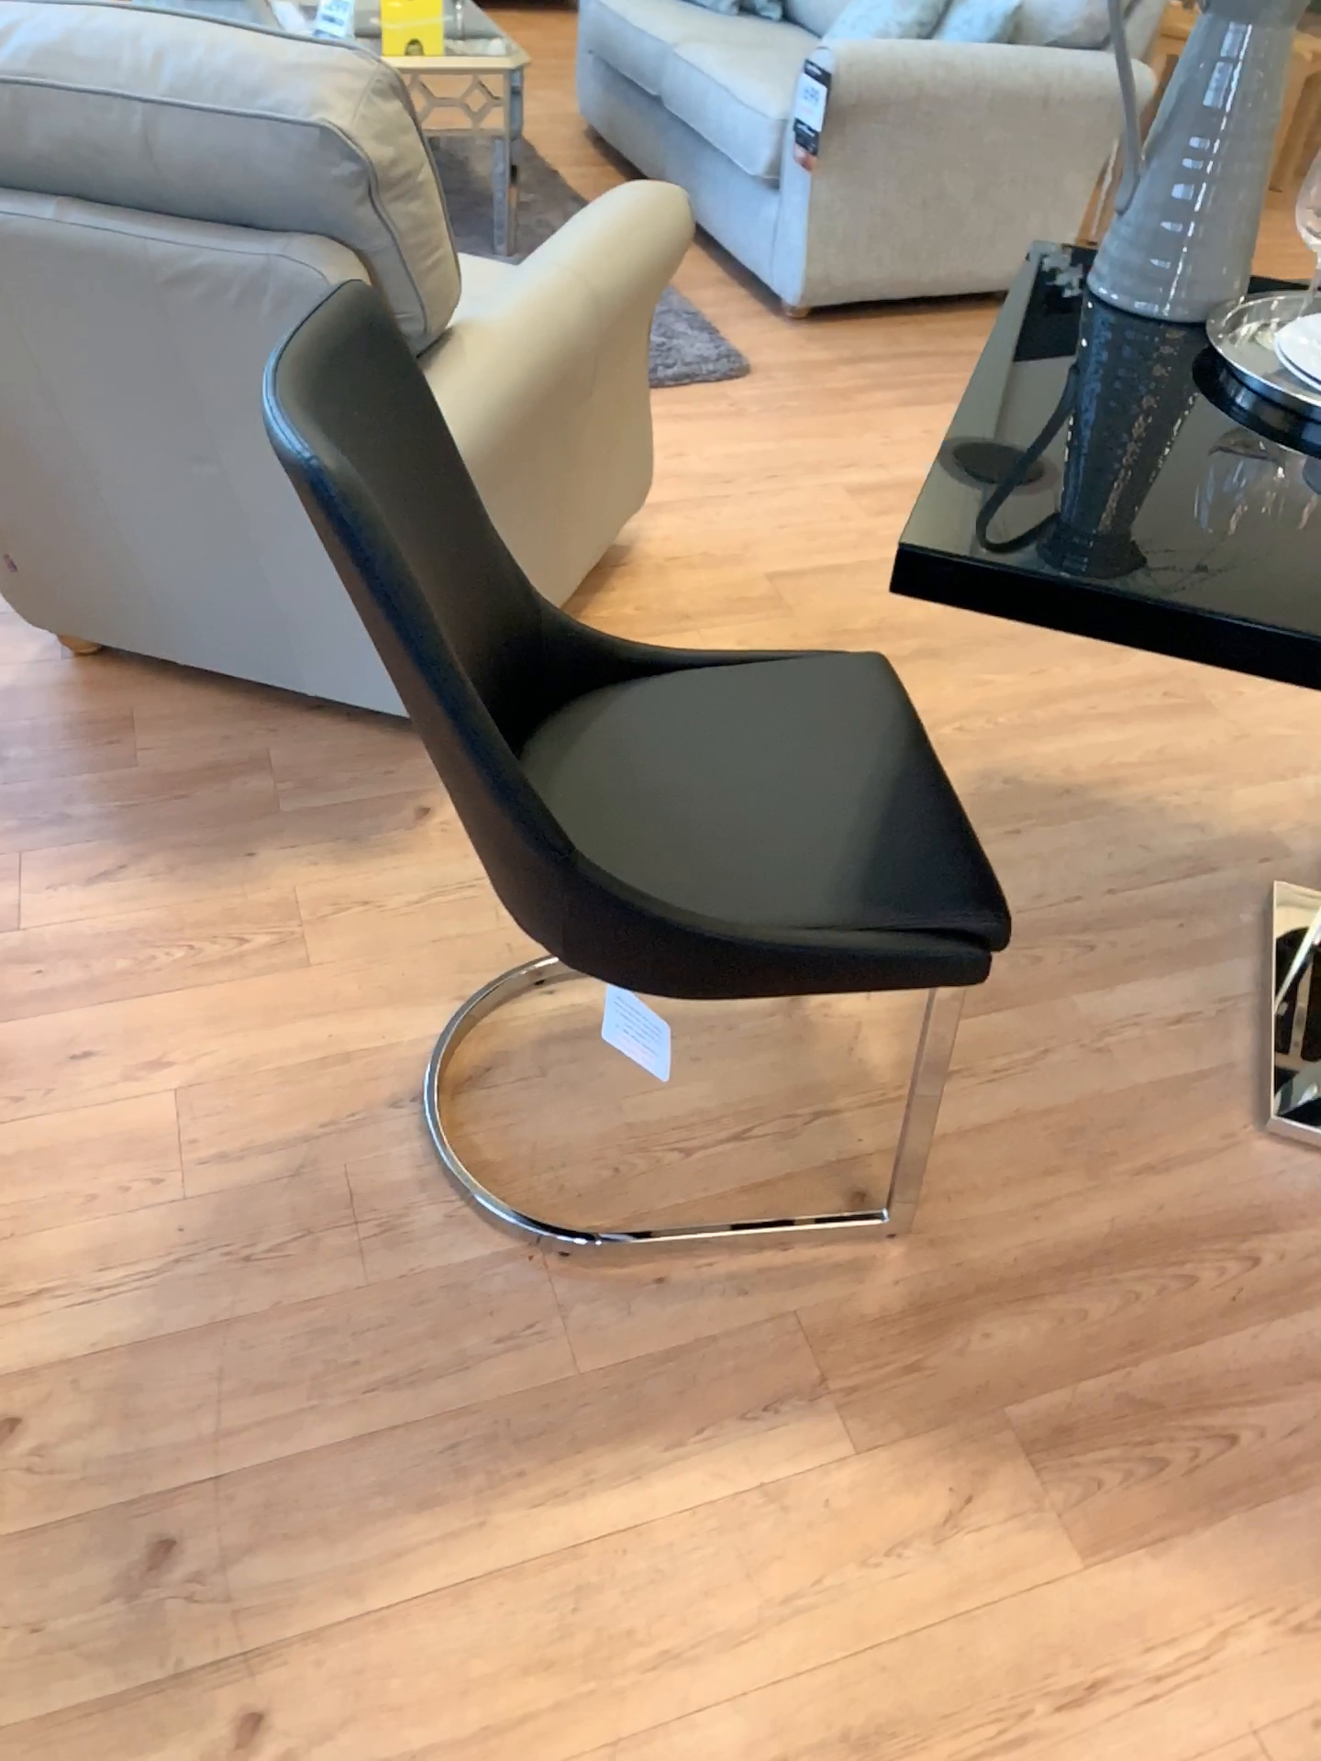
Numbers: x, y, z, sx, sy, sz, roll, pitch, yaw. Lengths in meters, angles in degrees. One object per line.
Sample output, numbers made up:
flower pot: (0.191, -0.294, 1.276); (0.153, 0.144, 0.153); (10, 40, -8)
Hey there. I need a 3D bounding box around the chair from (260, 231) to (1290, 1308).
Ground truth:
chair: (0.022, -0.092, 1.251); (0.629, 0.812, 0.510); (-5, 42, -10)
